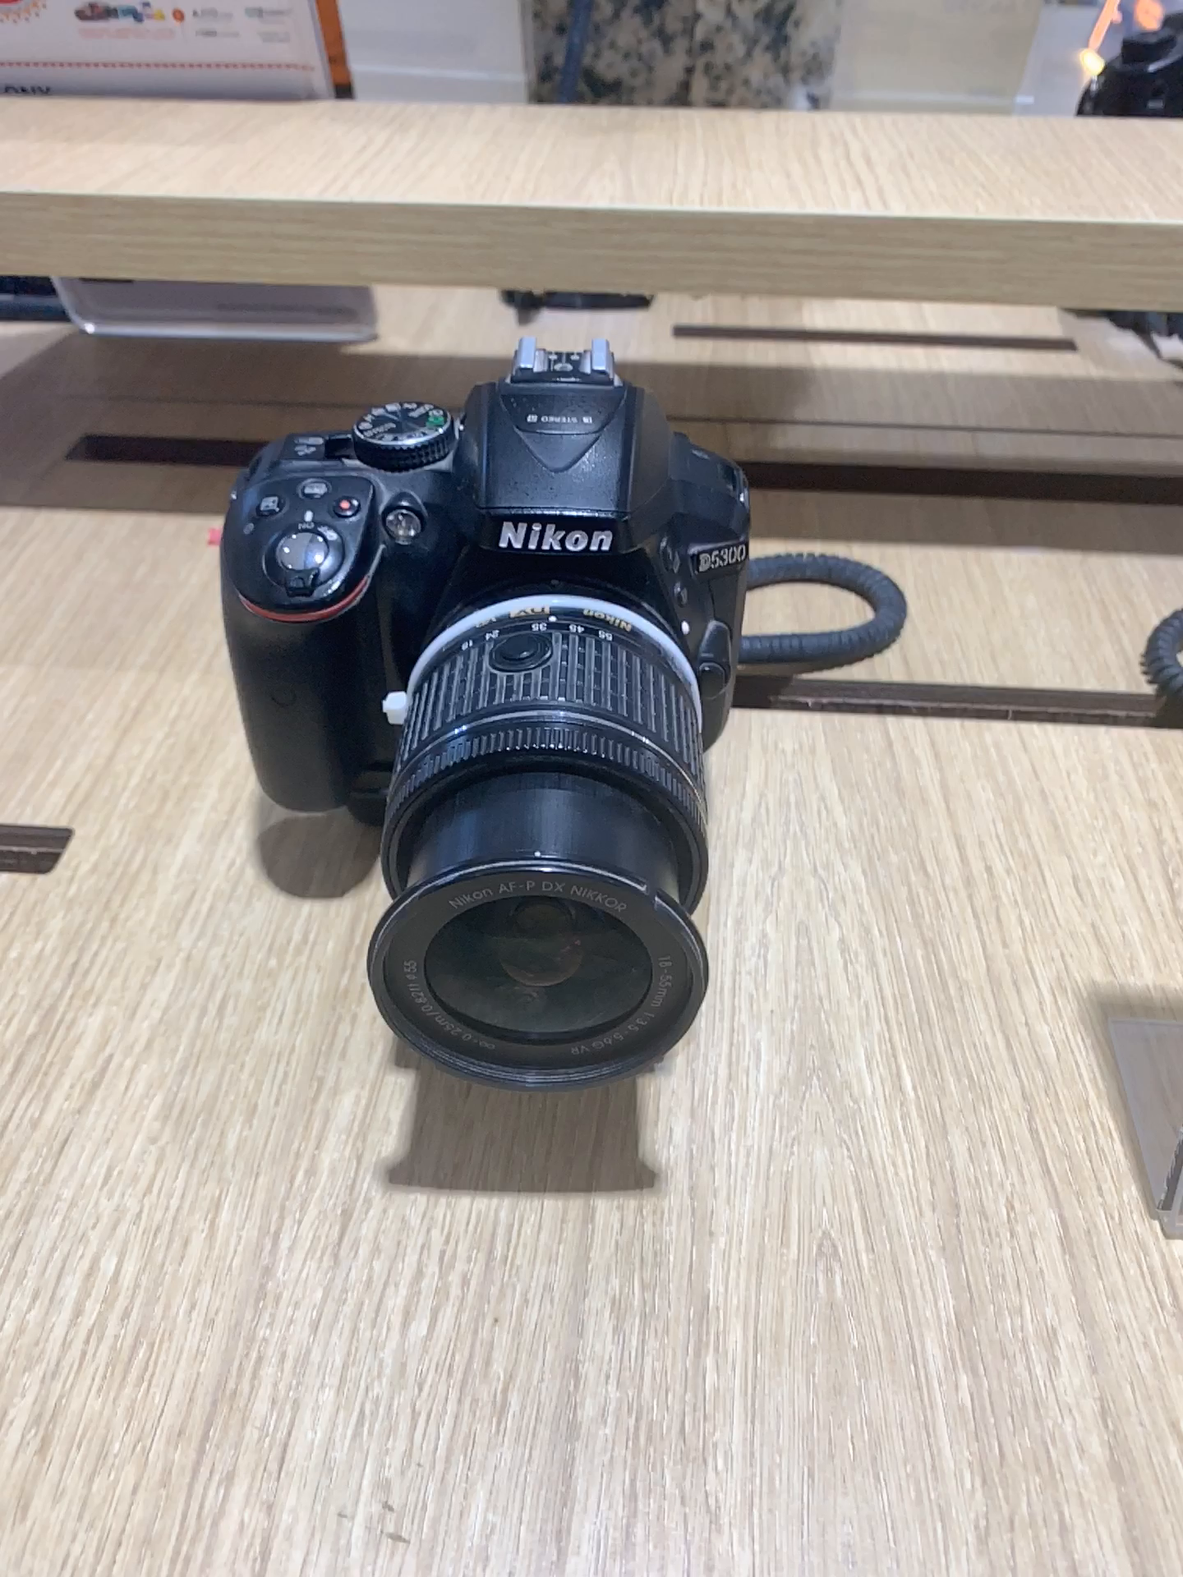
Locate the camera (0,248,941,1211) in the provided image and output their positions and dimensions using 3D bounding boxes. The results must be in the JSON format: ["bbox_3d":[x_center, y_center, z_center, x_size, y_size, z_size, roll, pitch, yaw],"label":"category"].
[{"bbox_3d":[-0.031,-0.030,0.287,0.160,0.120,0.211,0,41,1],"label":"camera"}]
